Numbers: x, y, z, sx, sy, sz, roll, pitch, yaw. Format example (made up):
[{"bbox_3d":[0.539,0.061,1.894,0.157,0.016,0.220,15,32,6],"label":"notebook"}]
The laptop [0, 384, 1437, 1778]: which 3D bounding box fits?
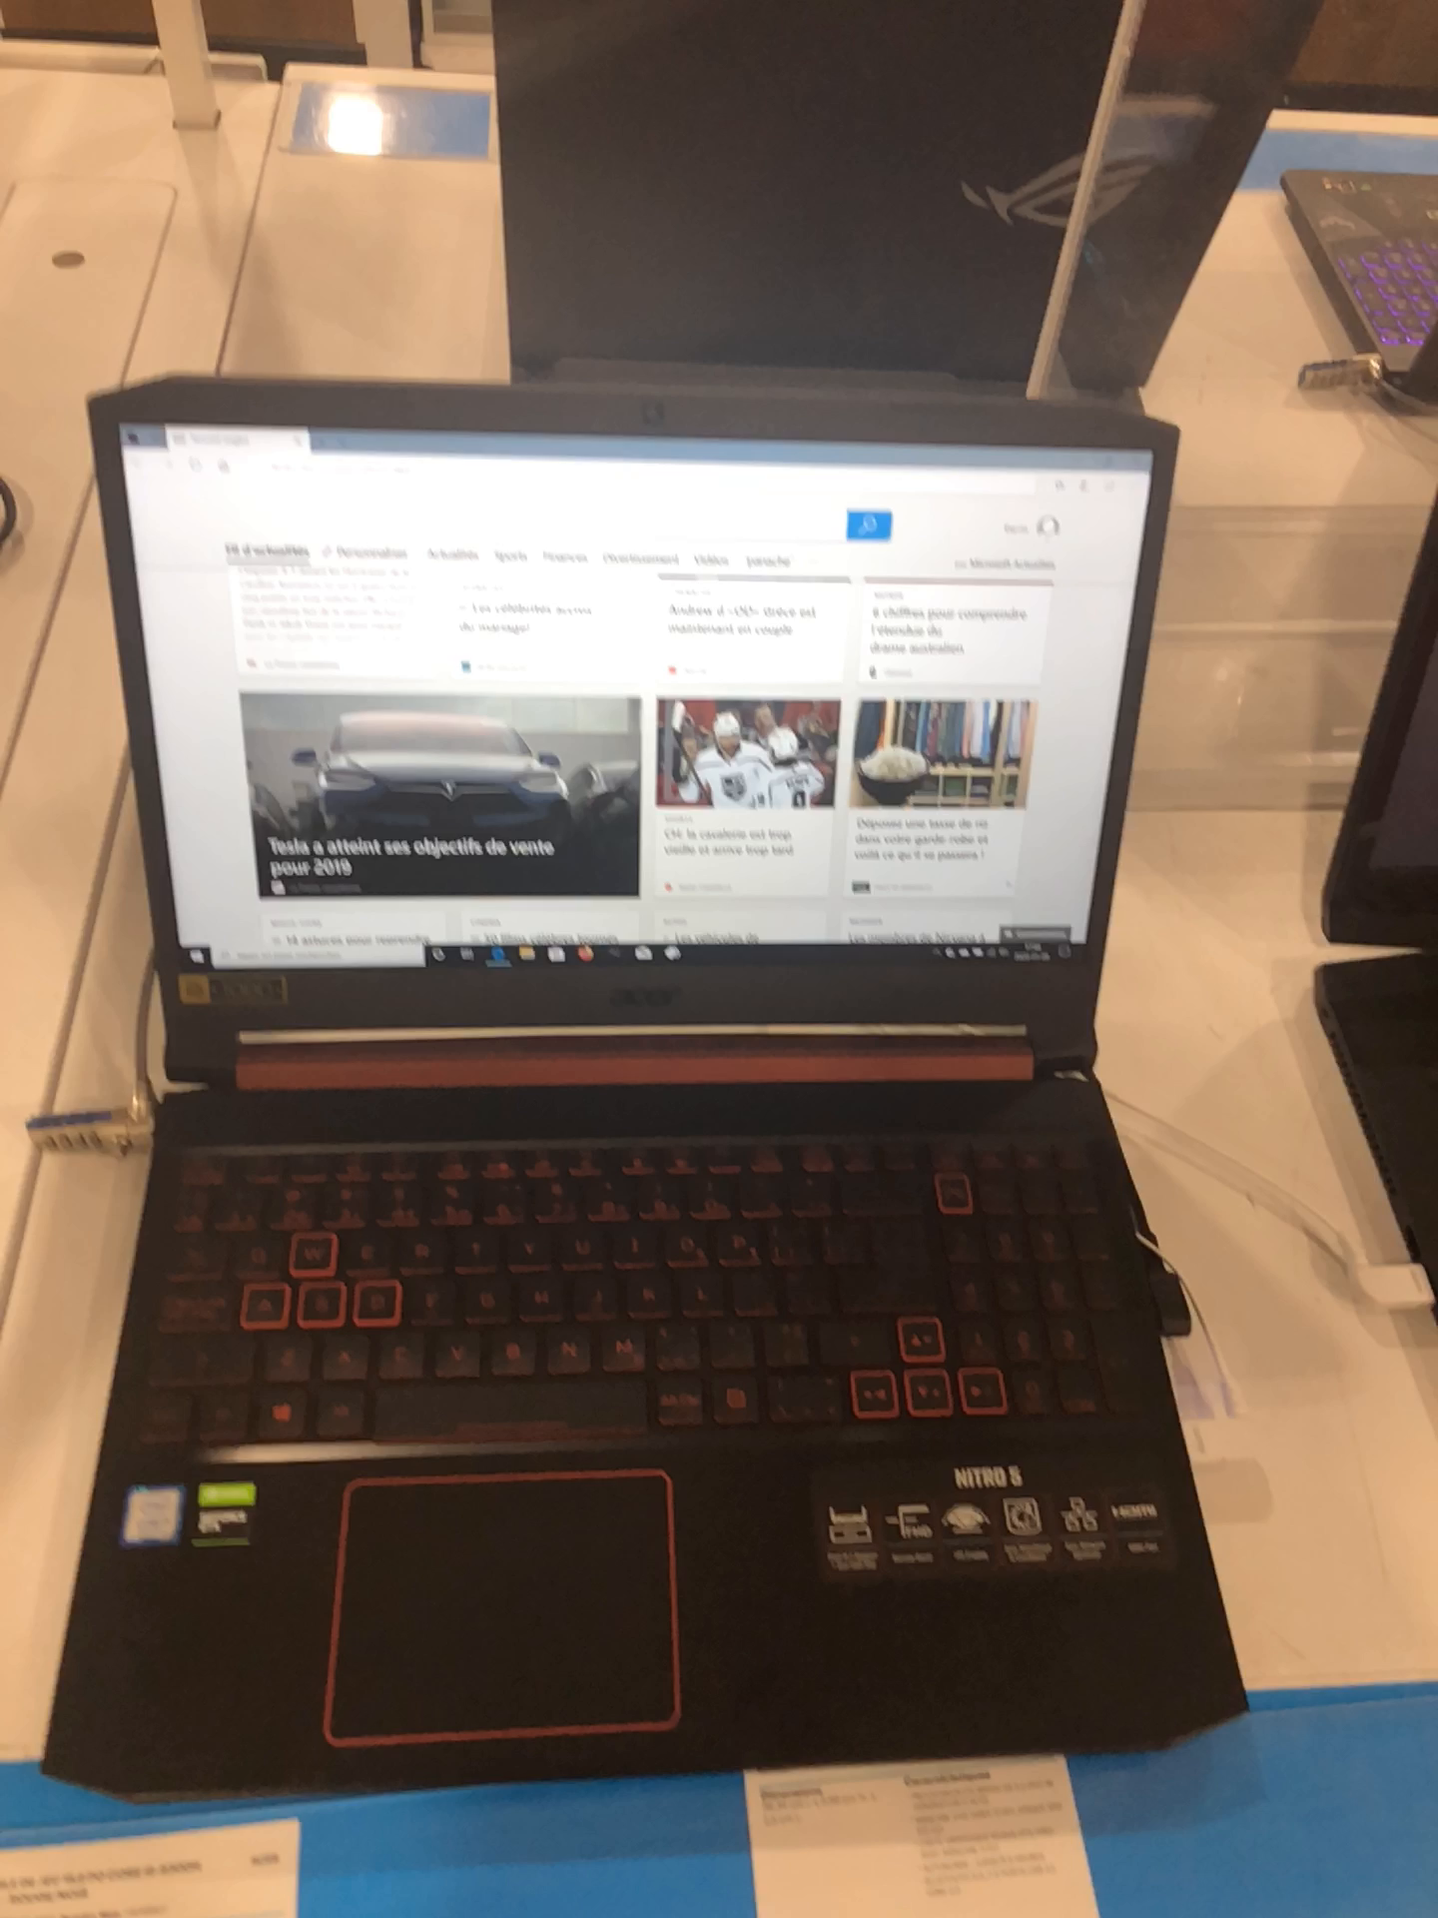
[{"bbox_3d":[-0.017,0.025,0.494,0.357,0.211,0.359,0,54,-5],"label":"laptop"}]
